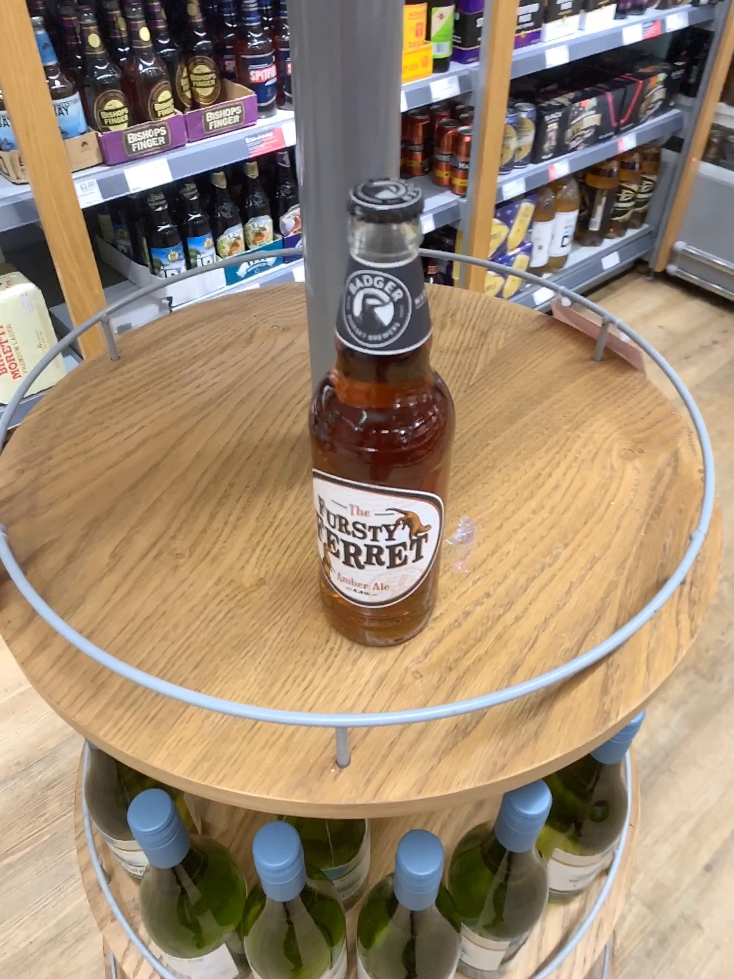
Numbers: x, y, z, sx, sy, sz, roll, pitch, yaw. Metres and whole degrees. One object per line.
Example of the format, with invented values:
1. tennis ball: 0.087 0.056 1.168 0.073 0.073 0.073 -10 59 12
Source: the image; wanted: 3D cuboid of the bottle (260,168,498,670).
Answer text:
1. bottle: 0.007 -0.018 0.357 0.069 0.231 0.076 13 46 13
